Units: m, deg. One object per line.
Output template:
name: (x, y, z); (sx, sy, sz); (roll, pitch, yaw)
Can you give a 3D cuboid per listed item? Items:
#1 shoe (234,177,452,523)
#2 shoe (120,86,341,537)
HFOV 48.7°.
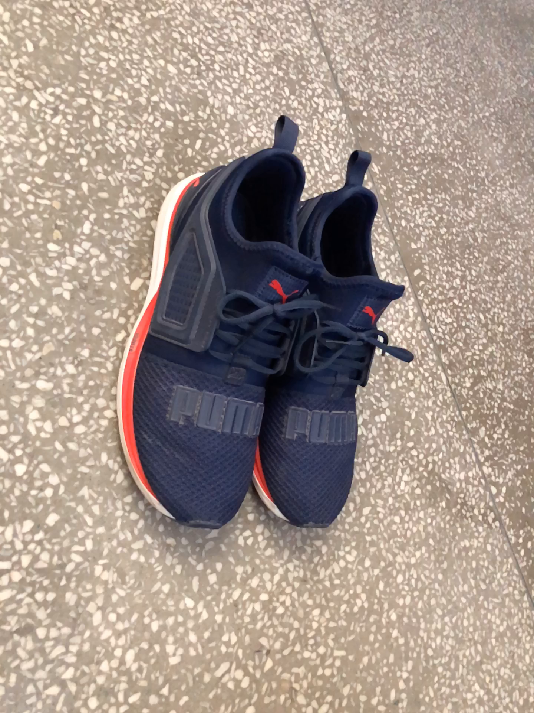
shoe: (0.048, 0.006, 0.455); (0.100, 0.120, 0.230); (6, 73, -29)
shoe: (-0.030, -0.021, 0.402); (0.100, 0.100, 0.270); (8, 72, -34)
